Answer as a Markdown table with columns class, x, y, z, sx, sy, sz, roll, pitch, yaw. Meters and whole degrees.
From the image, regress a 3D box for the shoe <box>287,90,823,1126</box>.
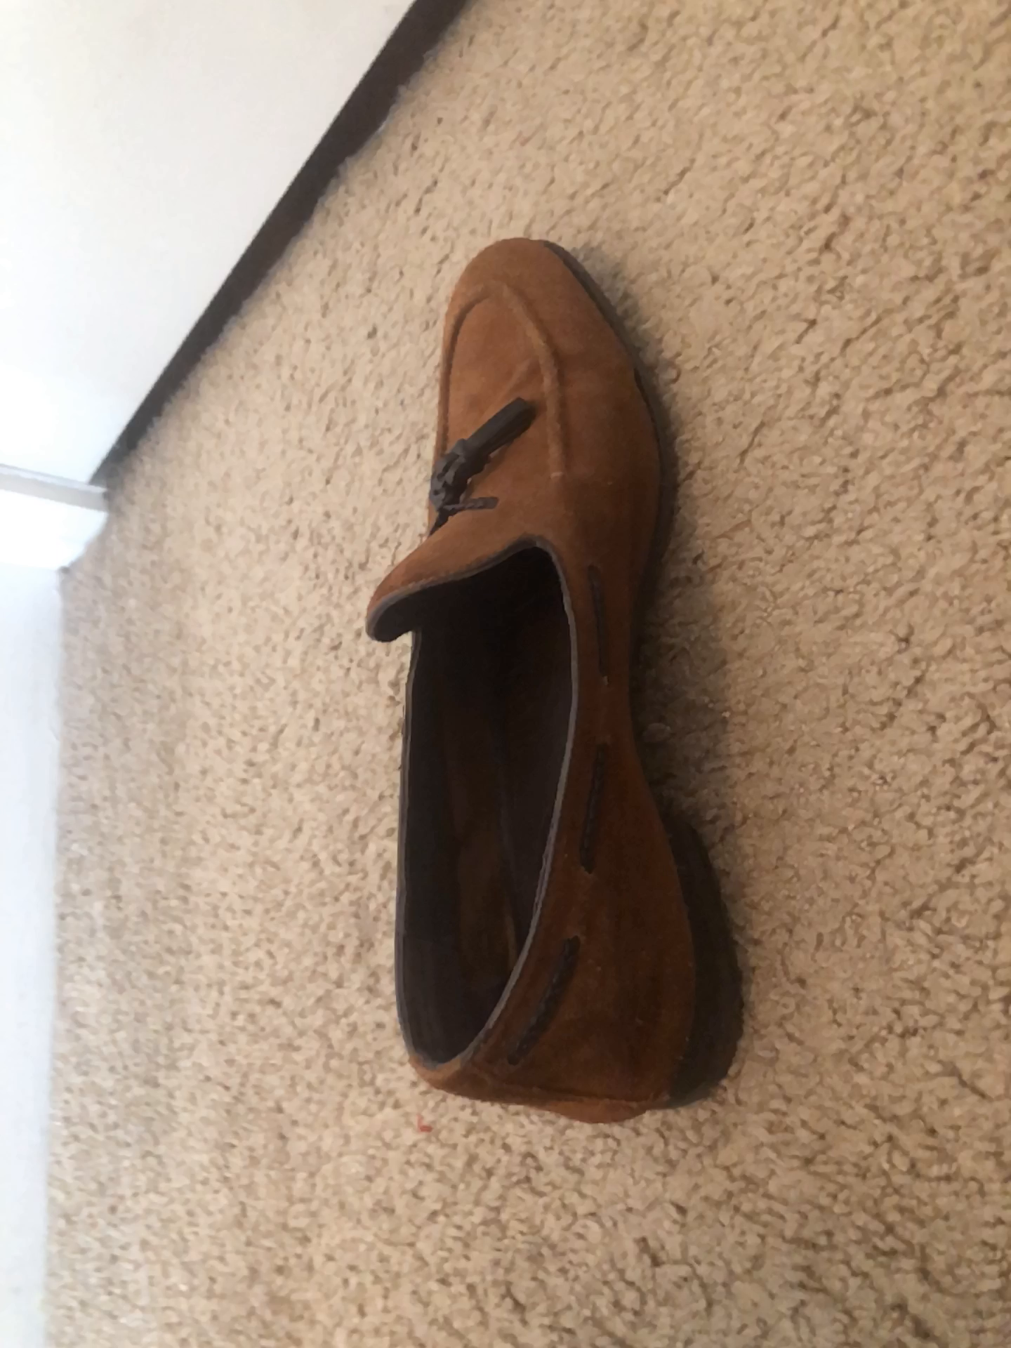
| class | x | y | z | sx | sy | sz | roll | pitch | yaw |
| --- | --- | --- | --- | --- | --- | --- | --- | --- | --- |
| shoe | 0.003 | -0.020 | 0.355 | 0.091 | 0.099 | 0.292 | -29 | 60 | 47 |
